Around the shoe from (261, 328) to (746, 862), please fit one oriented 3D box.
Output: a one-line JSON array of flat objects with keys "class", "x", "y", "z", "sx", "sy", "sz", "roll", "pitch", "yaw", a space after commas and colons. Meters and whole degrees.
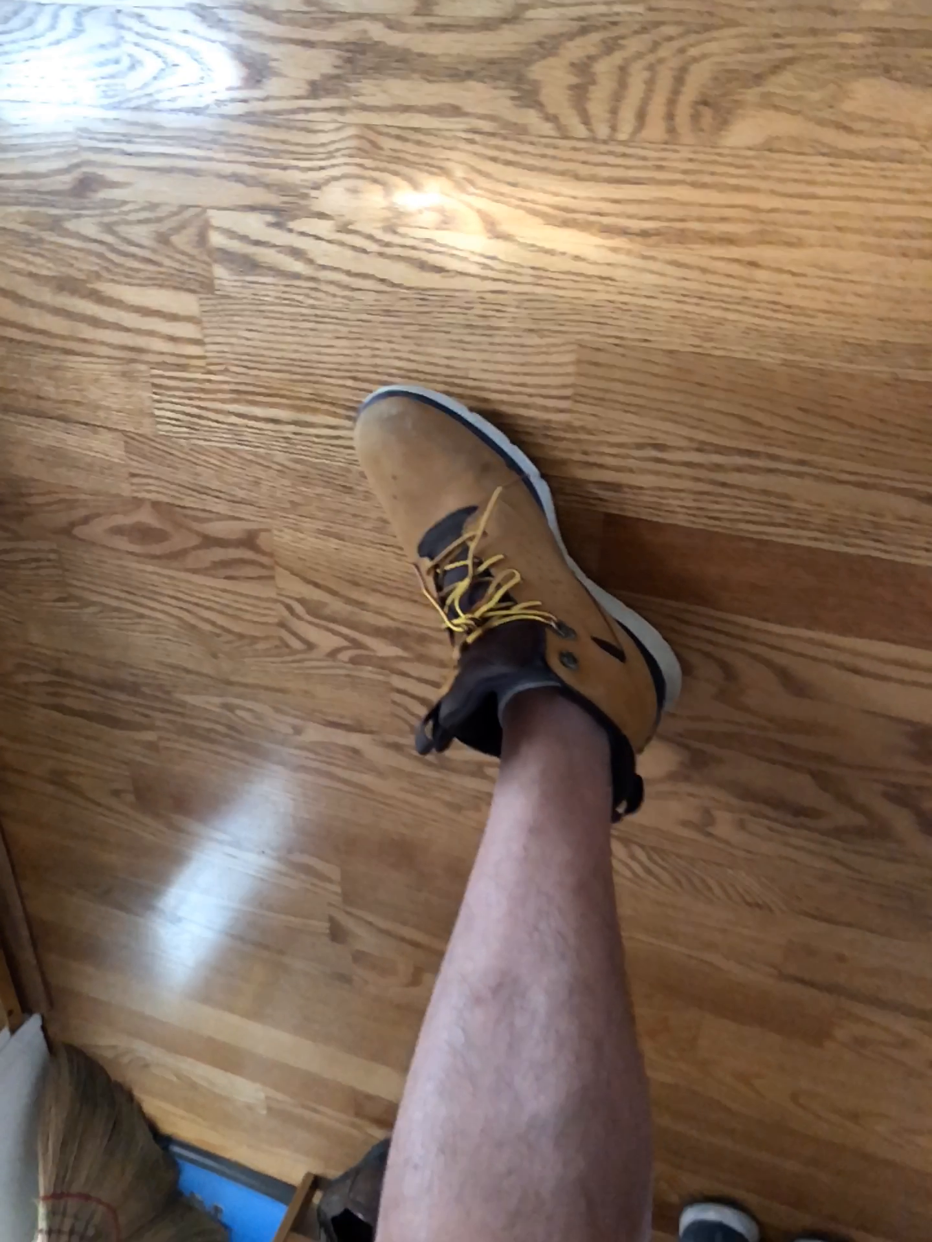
[{"class": "shoe", "x": 0.032, "y": -0.025, "z": 0.681, "sx": 0.120, "sy": 0.149, "sz": 0.310, "roll": -35, "pitch": 90, "yaw": 34}]
